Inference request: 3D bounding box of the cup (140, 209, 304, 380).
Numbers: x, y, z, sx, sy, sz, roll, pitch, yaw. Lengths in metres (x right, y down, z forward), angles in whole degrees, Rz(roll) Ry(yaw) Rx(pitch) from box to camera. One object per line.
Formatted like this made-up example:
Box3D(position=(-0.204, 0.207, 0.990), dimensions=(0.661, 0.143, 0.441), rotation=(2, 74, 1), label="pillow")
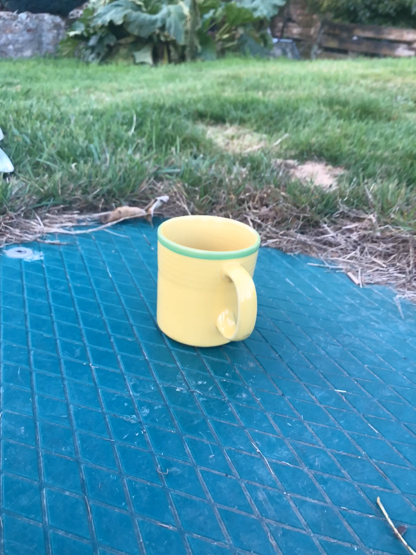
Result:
Box3D(position=(0.004, 0.005, 0.381), dimensions=(0.086, 0.089, 0.115), rotation=(-8, 27, -25), label="cup")
